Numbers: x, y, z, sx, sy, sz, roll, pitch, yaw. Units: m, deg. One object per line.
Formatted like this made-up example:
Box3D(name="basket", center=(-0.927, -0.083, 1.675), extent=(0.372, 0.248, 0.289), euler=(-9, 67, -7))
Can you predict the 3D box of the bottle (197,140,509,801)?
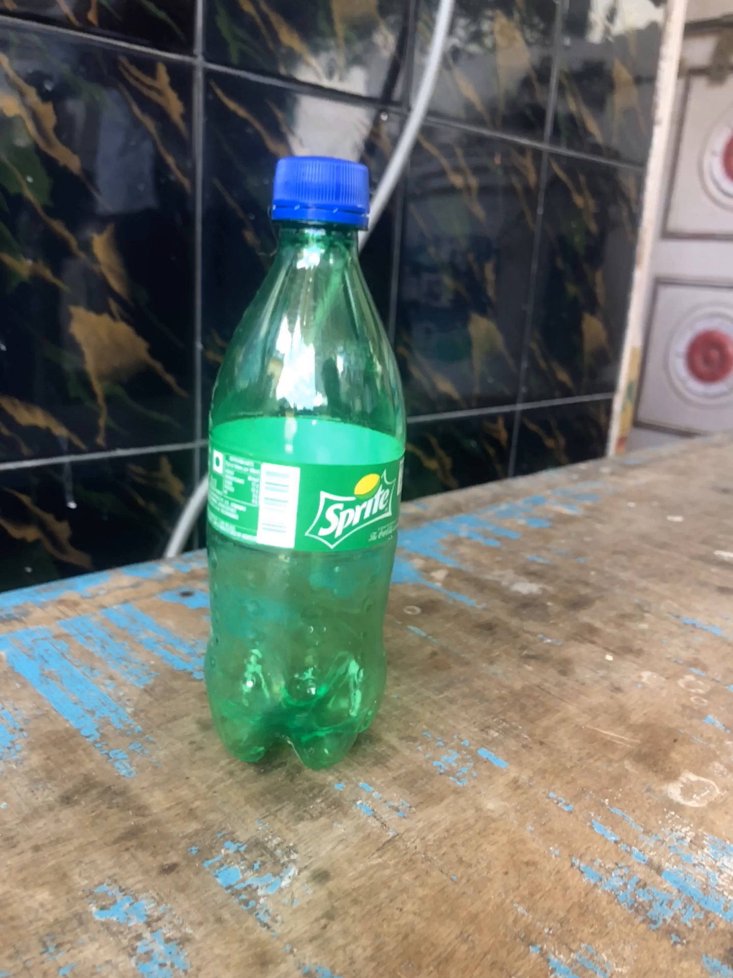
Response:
Box3D(name="bottle", center=(-0.008, -0.006, 0.229), extent=(0.060, 0.159, 0.050), euler=(-7, 19, -35))
